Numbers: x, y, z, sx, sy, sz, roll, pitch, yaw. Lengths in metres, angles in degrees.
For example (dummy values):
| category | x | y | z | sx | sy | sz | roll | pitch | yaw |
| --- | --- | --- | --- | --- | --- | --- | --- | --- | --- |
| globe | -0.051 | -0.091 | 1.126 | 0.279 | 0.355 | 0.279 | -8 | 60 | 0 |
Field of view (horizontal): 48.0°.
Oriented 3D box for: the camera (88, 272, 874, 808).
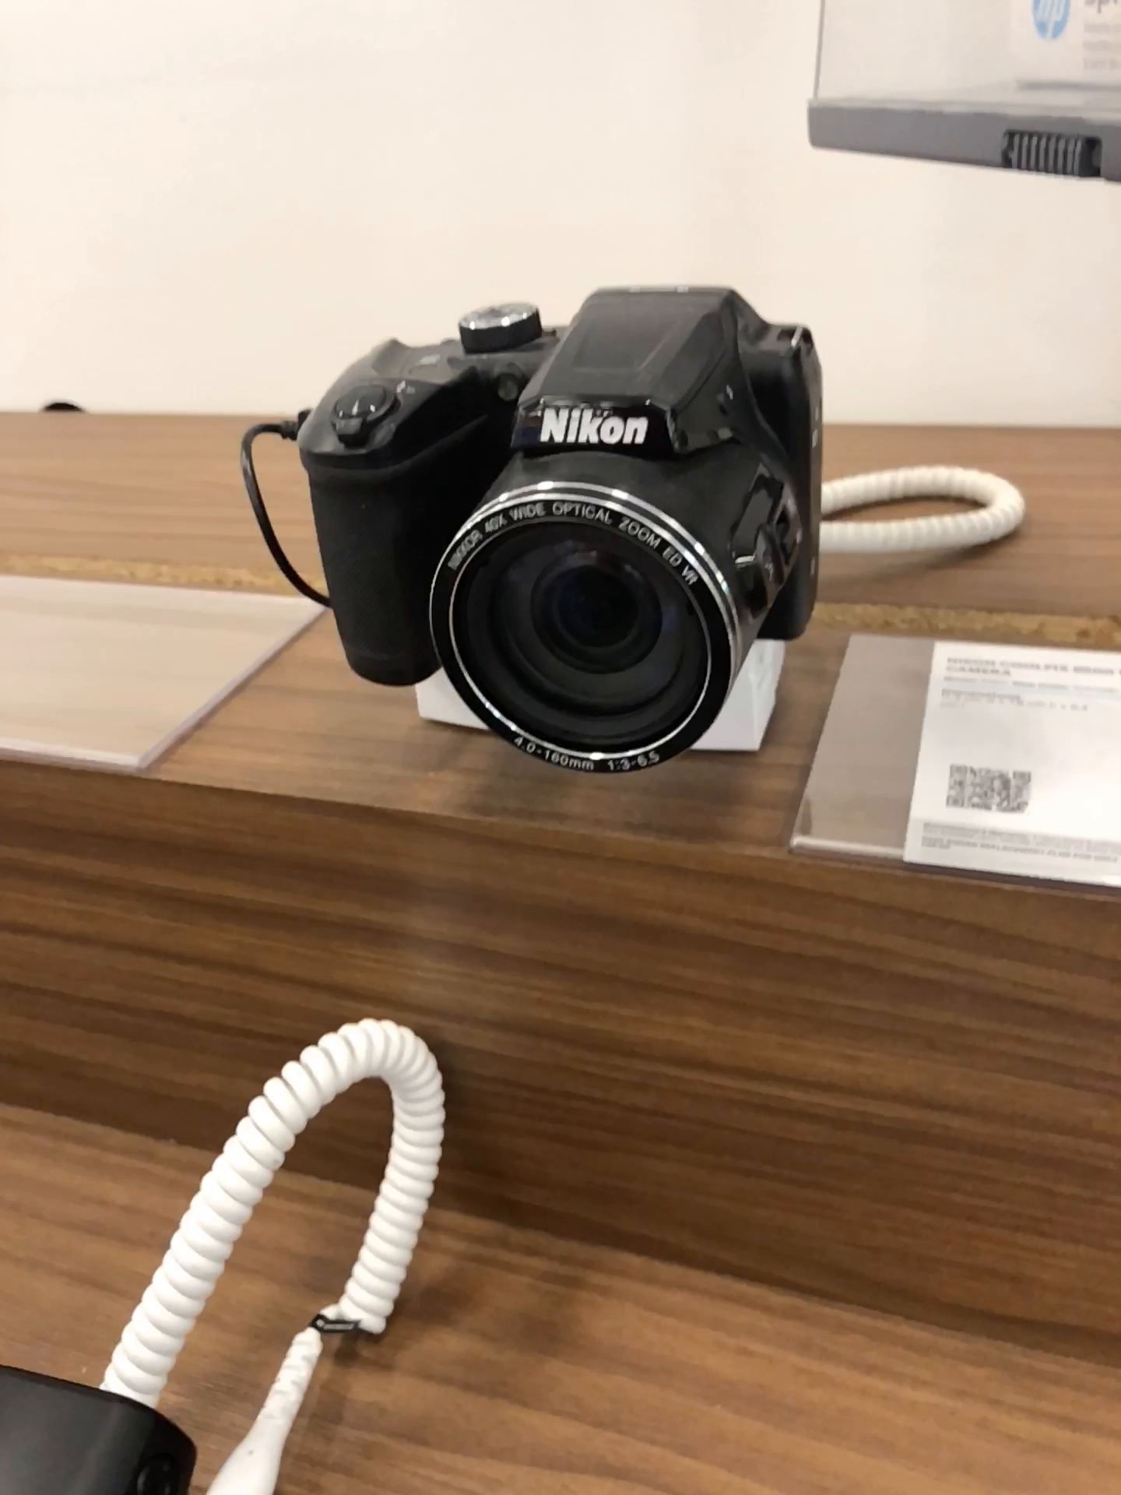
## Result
| category | x | y | z | sx | sy | sz | roll | pitch | yaw |
| --- | --- | --- | --- | --- | --- | --- | --- | --- | --- |
| camera | -0.004 | -0.057 | 0.286 | 0.130 | 0.070 | 0.130 | 5 | 31 | 18 |
